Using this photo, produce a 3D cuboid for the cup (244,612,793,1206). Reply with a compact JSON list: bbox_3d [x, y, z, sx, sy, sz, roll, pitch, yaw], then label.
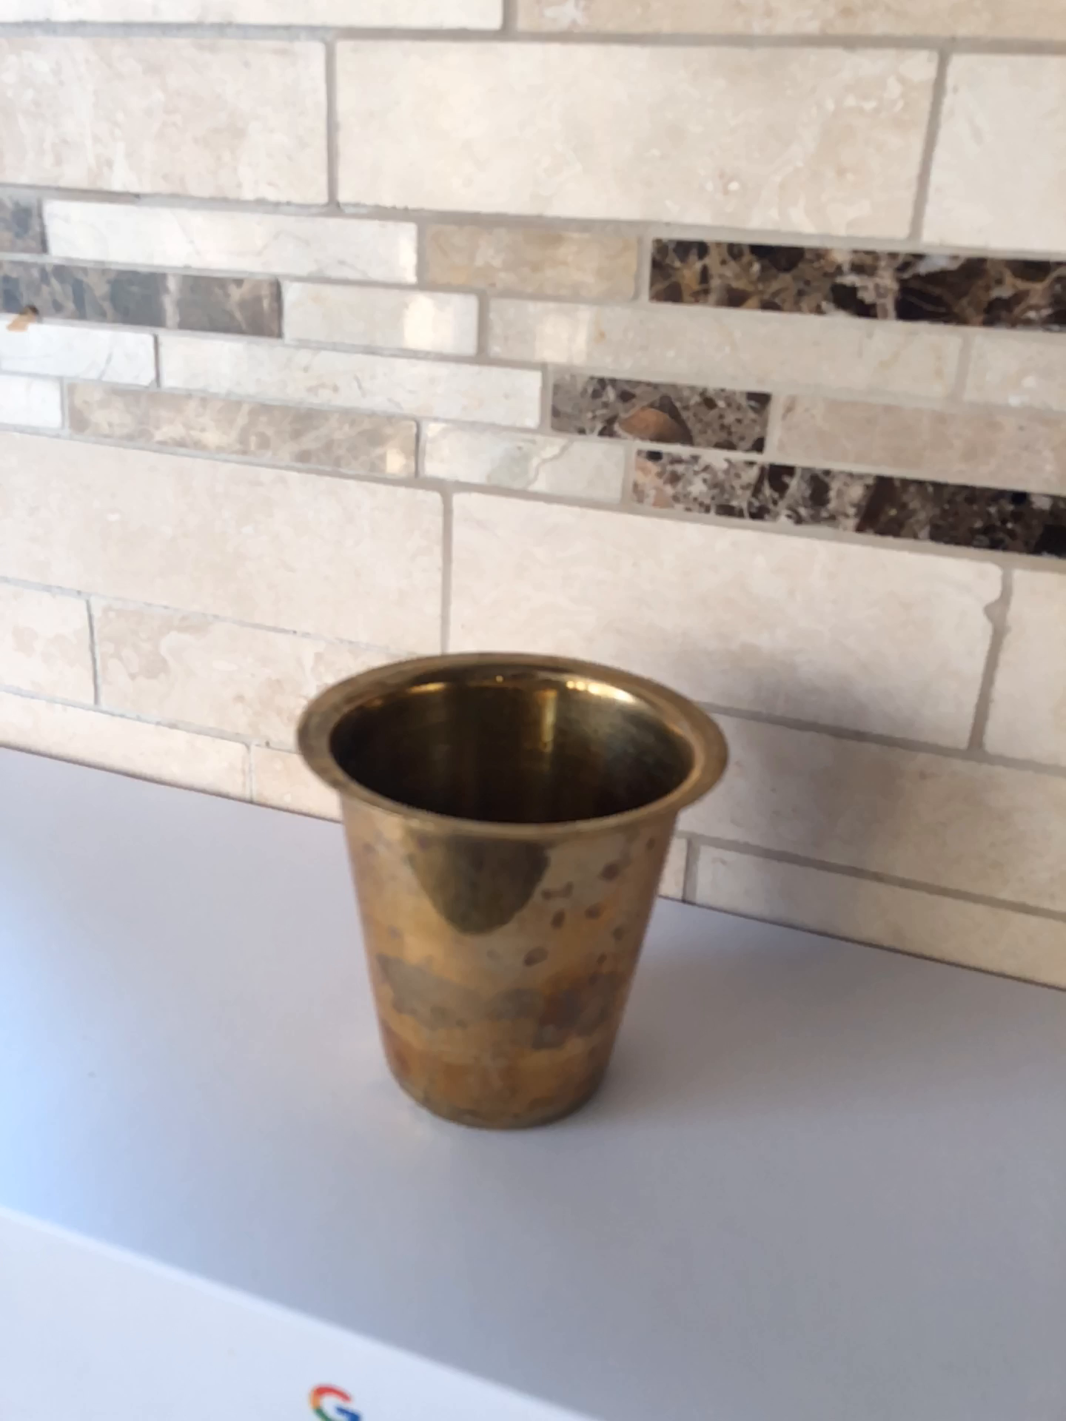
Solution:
[{"bbox_3d":[0.001,0.031,0.230,0.083,0.071,0.076,9,24,13],"label":"cup"}]
